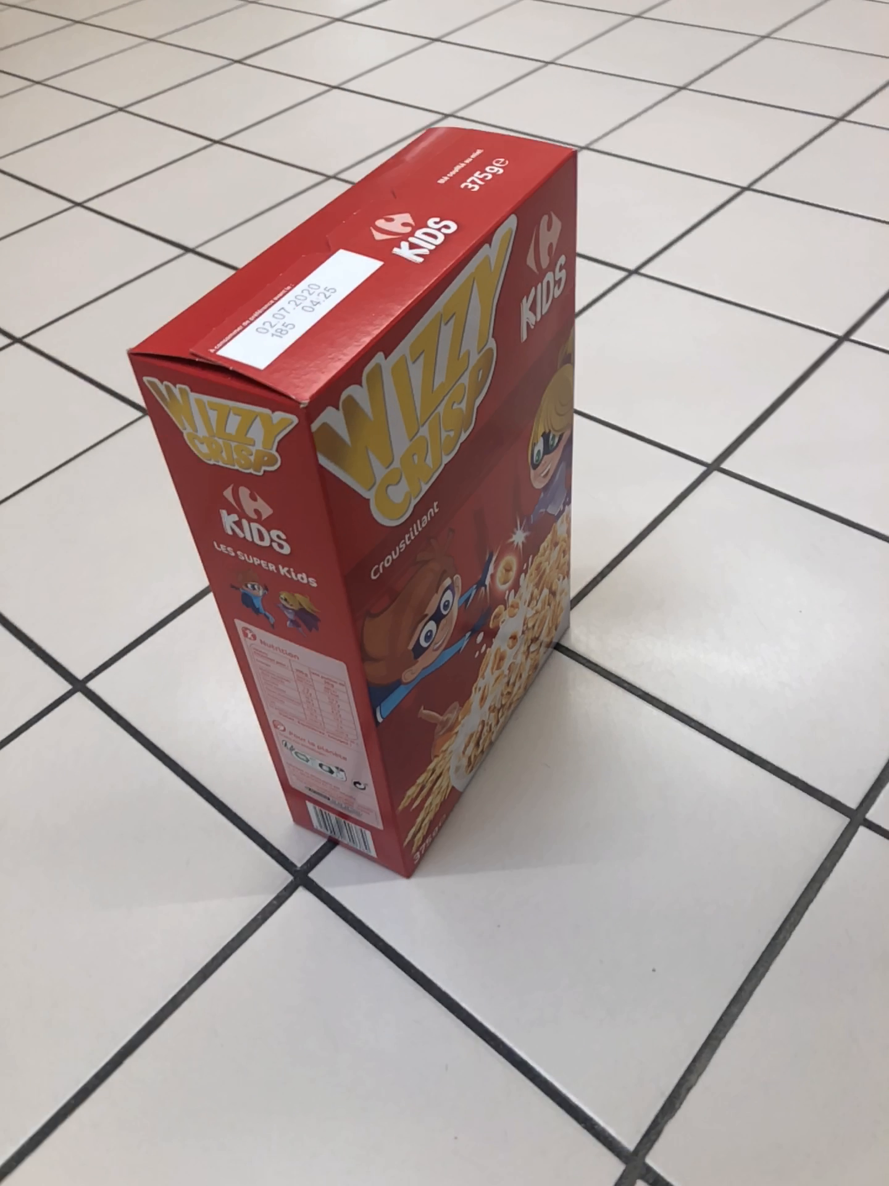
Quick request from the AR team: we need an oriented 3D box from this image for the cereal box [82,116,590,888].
[{"bbox_3d":[-0.017,-0.031,0.444,0.090,0.278,0.191,19,50,23],"label":"cereal box"}]
